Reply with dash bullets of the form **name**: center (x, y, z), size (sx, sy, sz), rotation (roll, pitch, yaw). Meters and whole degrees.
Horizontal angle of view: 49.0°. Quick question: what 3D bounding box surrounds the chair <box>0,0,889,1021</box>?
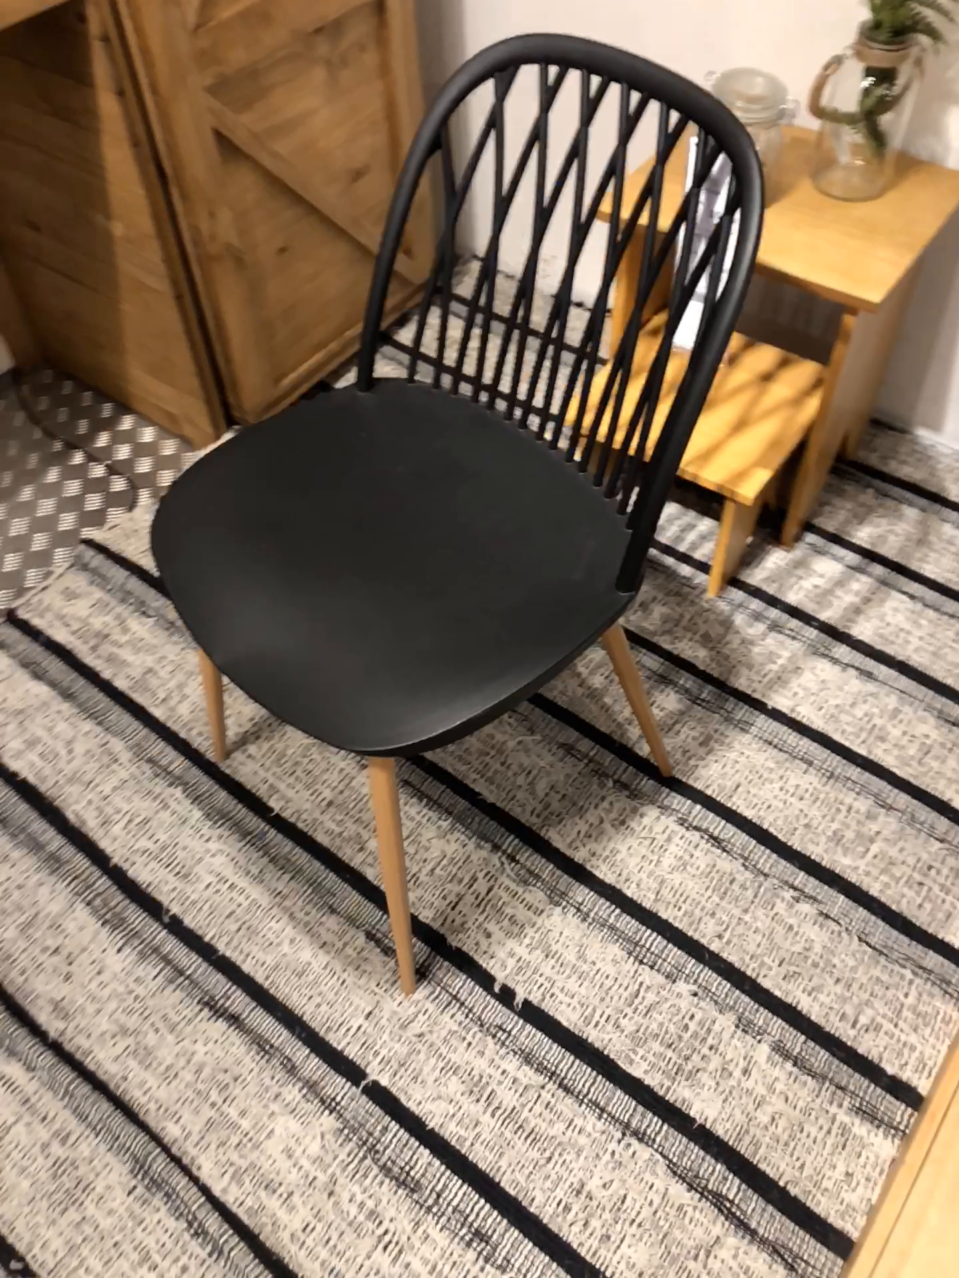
- **chair**: center (-0.053, -0.108, 1.060), size (0.542, 0.775, 0.472), rotation (-34, 57, -23)
